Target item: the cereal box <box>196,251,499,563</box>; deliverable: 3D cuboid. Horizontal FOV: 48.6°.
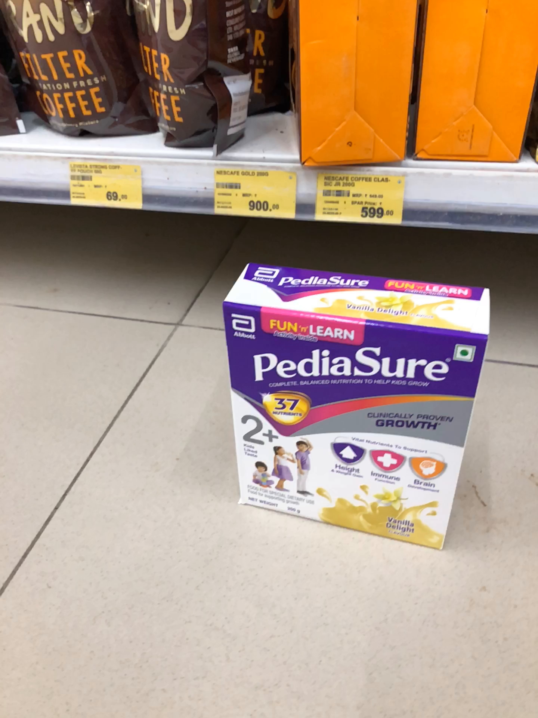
[{"bbox_3d":[0.042,0.030,0.339,0.140,0.159,0.050,9,38,16],"label":"cereal box"}]
